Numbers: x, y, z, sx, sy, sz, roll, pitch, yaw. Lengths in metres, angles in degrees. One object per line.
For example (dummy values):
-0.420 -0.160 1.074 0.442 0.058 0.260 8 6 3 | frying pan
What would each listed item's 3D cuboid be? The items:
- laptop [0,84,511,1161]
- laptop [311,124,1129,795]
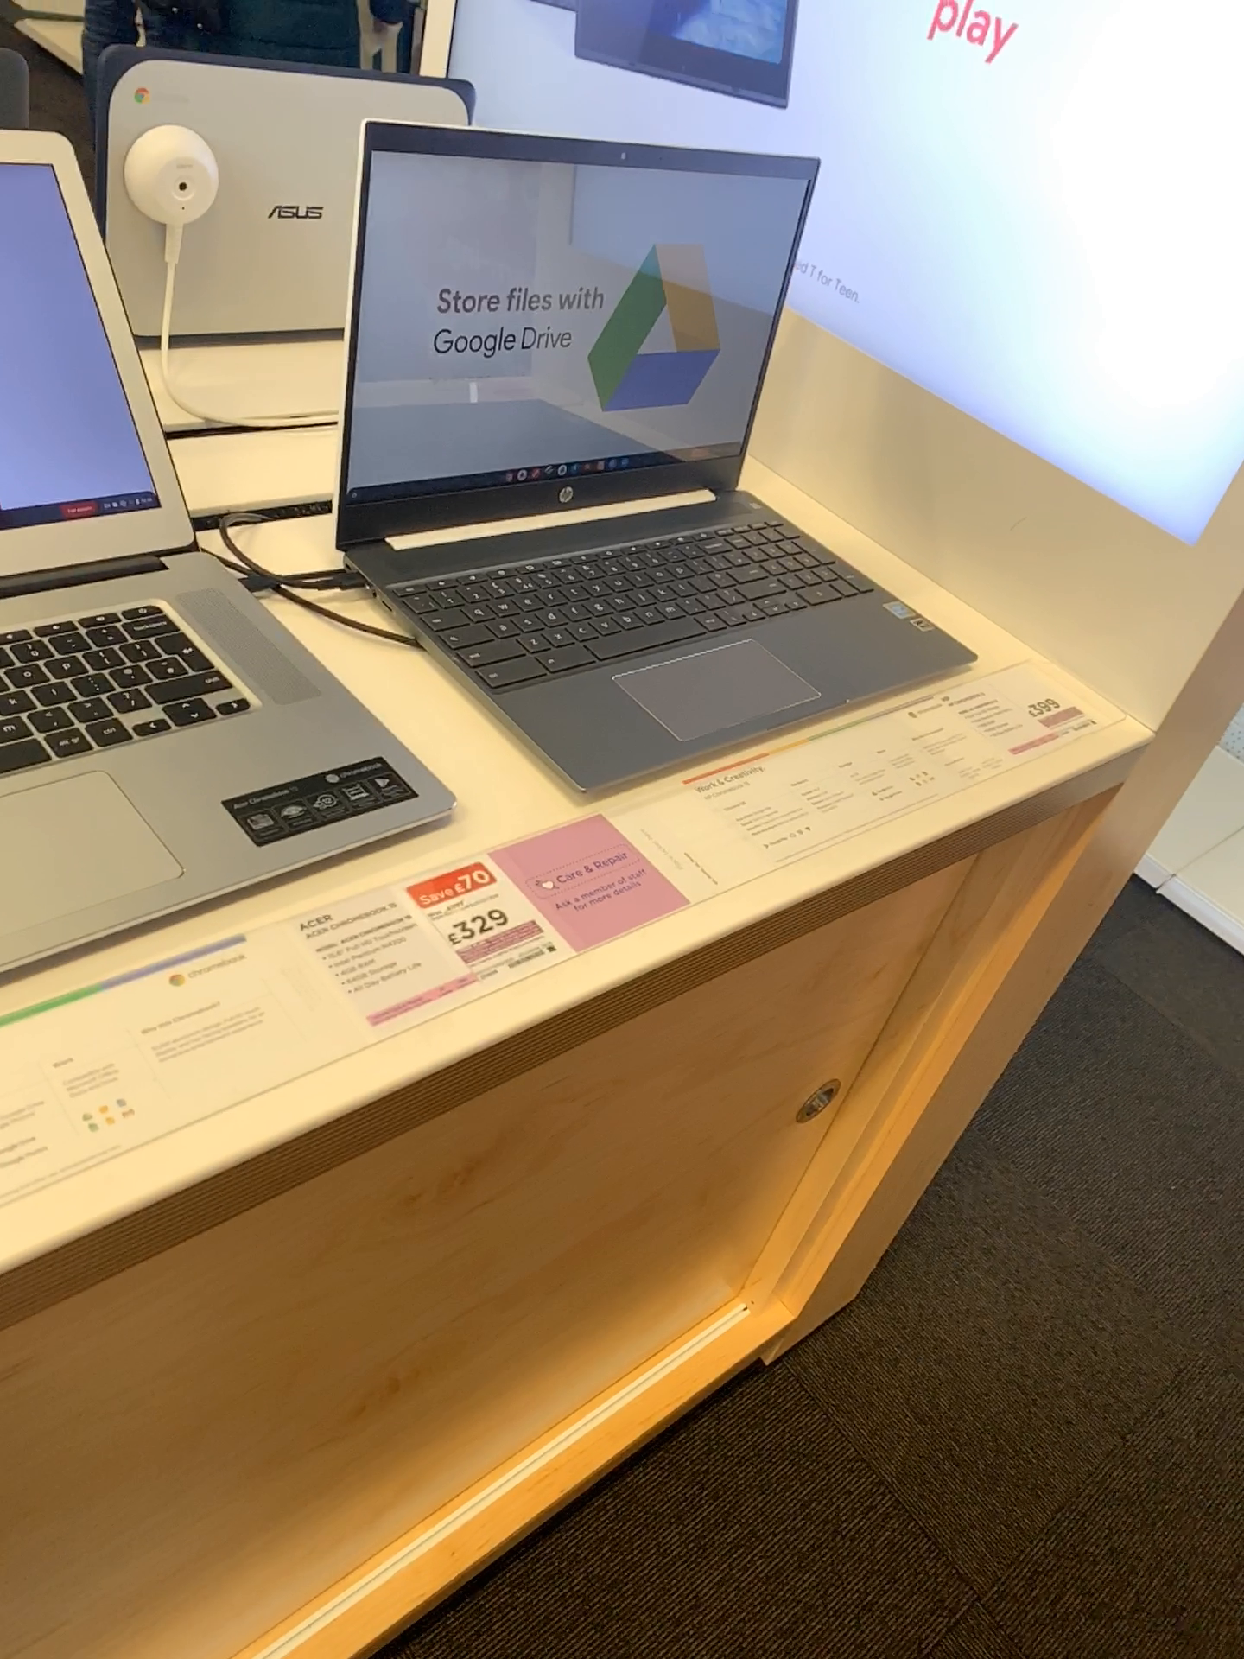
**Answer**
-0.336 -0.149 0.562 0.377 0.174 0.426 -22 53 -39 | laptop
0.052 -0.234 0.766 0.360 0.233 0.268 -20 51 -39 | laptop
